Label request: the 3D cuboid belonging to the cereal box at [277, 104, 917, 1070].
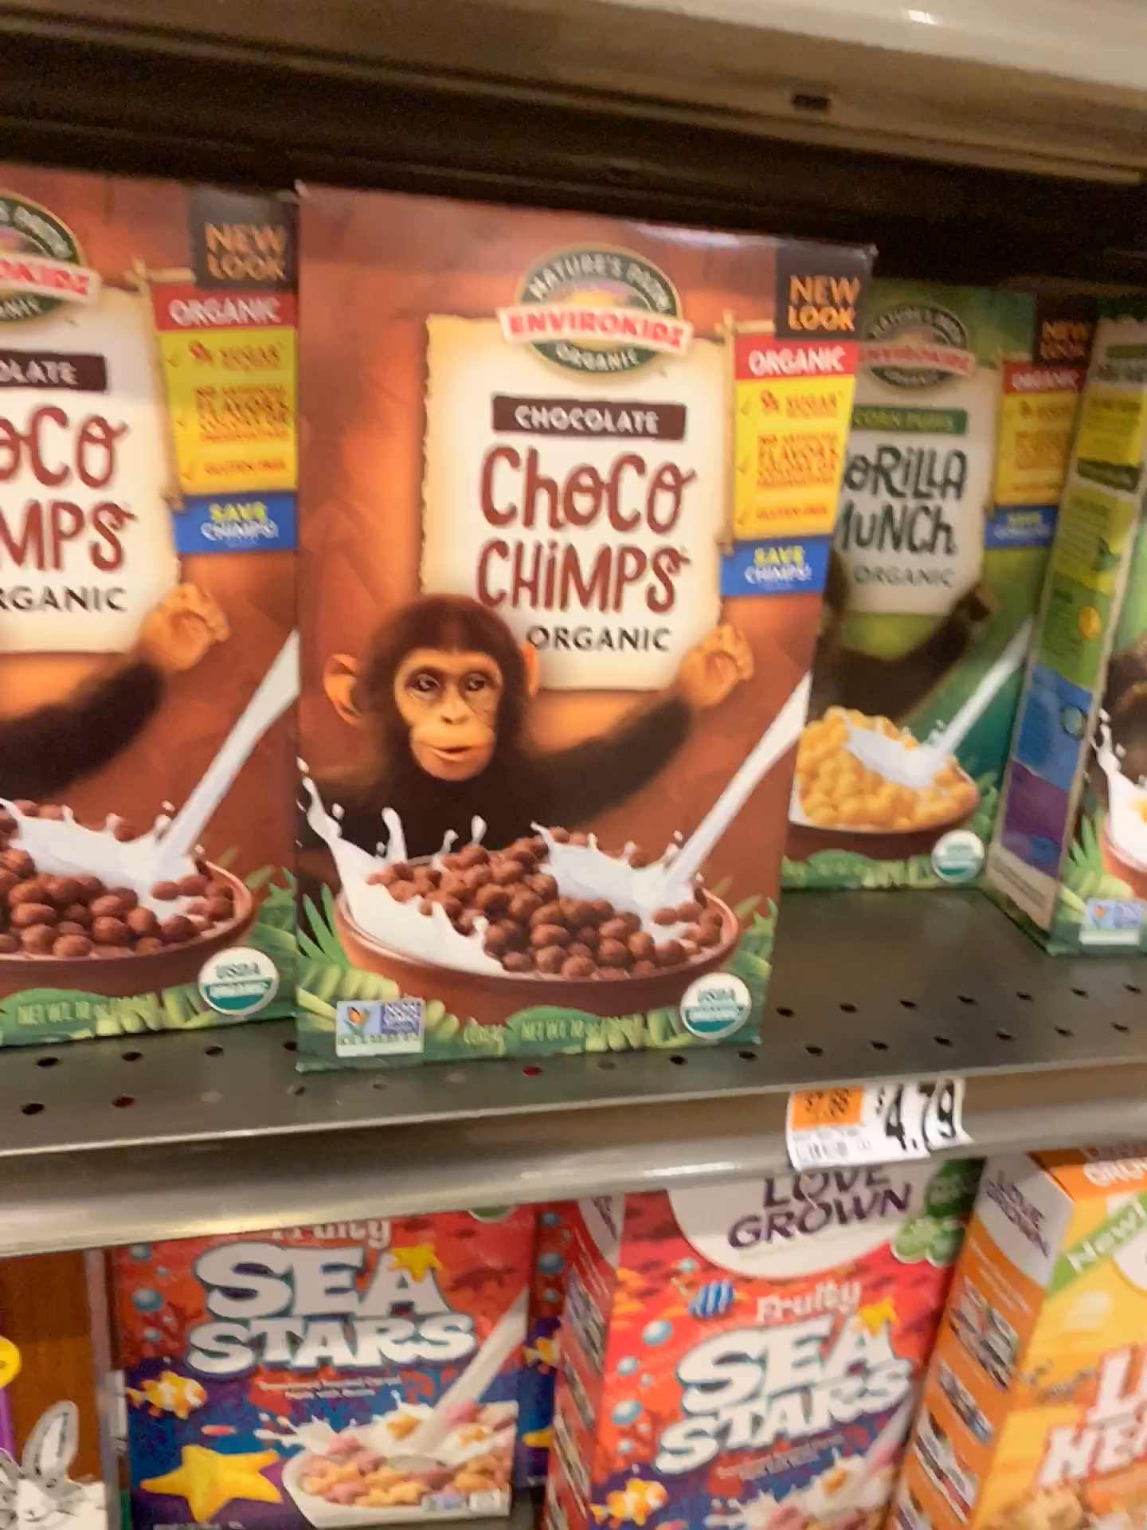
[{"bbox_3d":[-0.006,-0.042,0.375,0.170,0.269,0.060,0,19,-15],"label":"cereal box"}]
